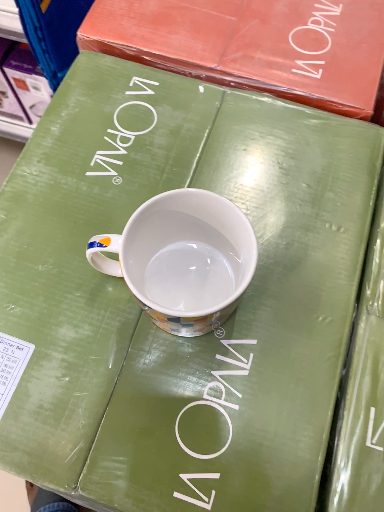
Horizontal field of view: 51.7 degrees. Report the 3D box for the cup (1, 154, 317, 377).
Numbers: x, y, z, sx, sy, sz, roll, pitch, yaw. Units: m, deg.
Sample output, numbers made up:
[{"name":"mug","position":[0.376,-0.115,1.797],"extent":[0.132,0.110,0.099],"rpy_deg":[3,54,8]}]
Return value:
[{"name":"cup","position":[-0.012,0.014,0.226],"extent":[0.130,0.100,0.090],"rpy_deg":[4,68,1]}]
